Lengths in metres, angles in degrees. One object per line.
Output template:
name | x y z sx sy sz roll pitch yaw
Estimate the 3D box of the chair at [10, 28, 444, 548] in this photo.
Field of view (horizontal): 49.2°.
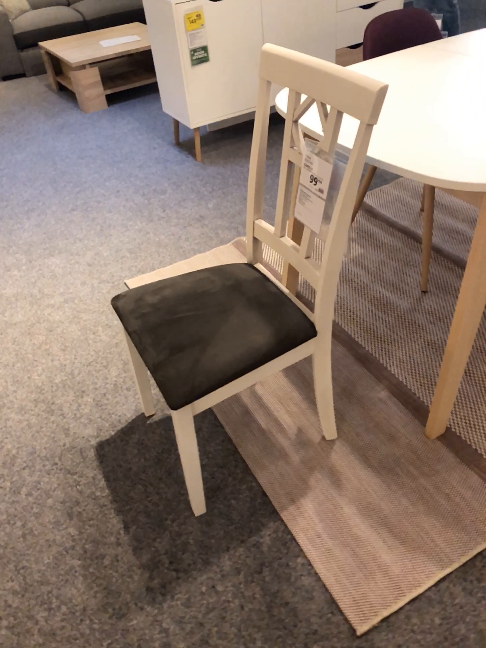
chair | -0.026 -0.076 1.155 0.561 0.855 0.512 -22 42 -17
